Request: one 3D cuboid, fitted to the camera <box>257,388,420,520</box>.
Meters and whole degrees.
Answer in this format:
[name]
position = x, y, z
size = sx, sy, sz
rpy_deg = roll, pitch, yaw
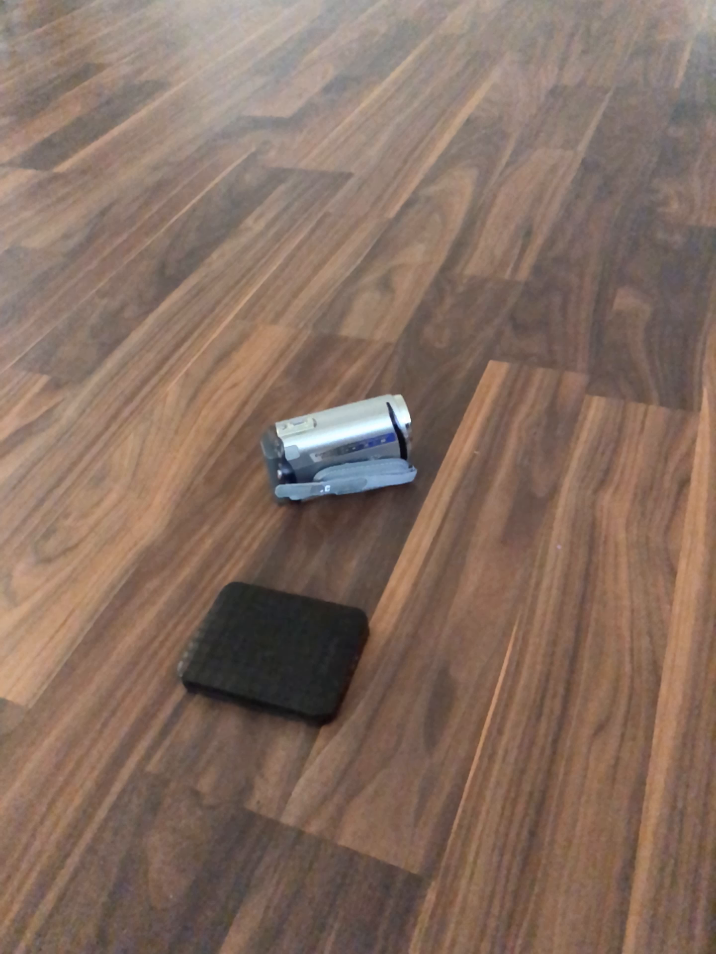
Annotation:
[camera]
position = -0.014, -0.018, 0.626
size = 0.115, 0.065, 0.048
rpy_deg = -14, 43, -7
